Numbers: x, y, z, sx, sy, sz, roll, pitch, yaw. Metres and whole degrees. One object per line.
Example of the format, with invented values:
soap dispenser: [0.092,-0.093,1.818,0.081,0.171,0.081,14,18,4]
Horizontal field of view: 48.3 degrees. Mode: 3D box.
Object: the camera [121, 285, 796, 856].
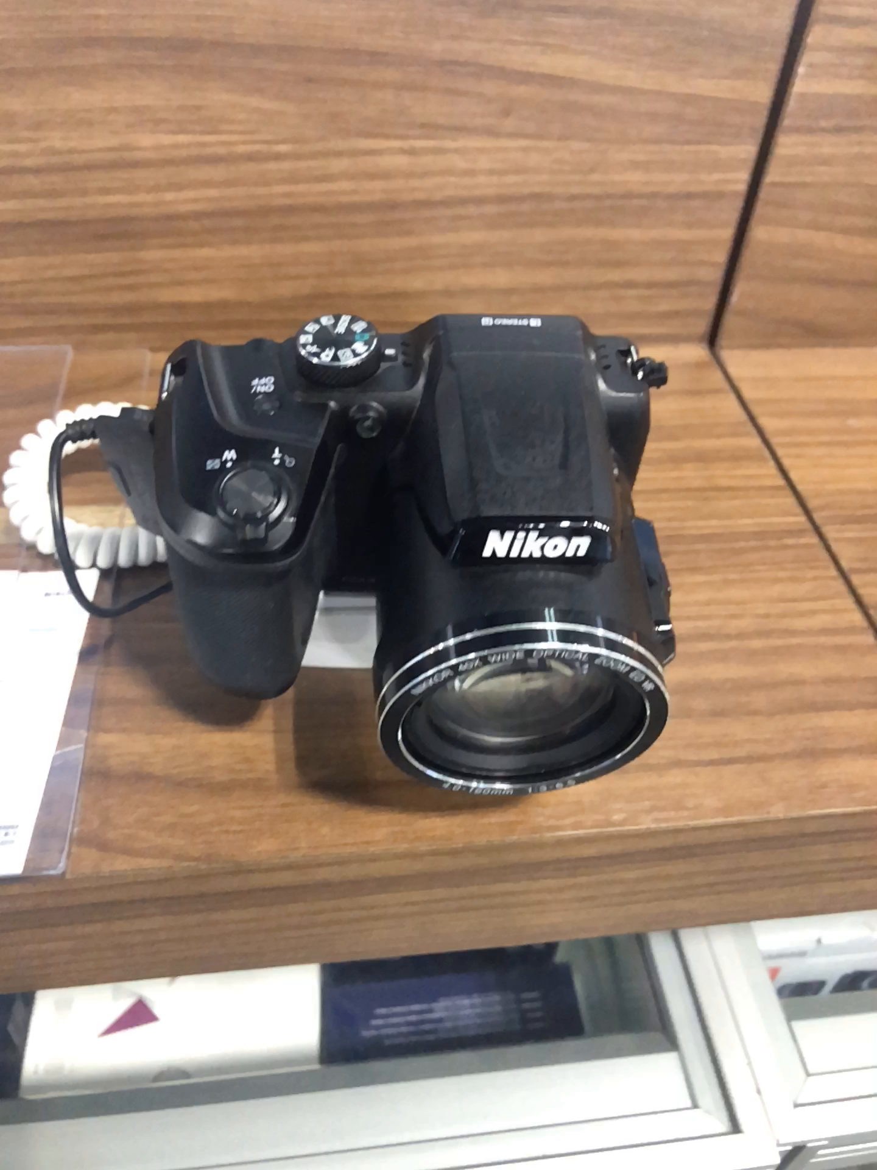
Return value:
camera: [-0.002,-0.007,0.219,0.110,0.079,0.096,-2,44,-7]
